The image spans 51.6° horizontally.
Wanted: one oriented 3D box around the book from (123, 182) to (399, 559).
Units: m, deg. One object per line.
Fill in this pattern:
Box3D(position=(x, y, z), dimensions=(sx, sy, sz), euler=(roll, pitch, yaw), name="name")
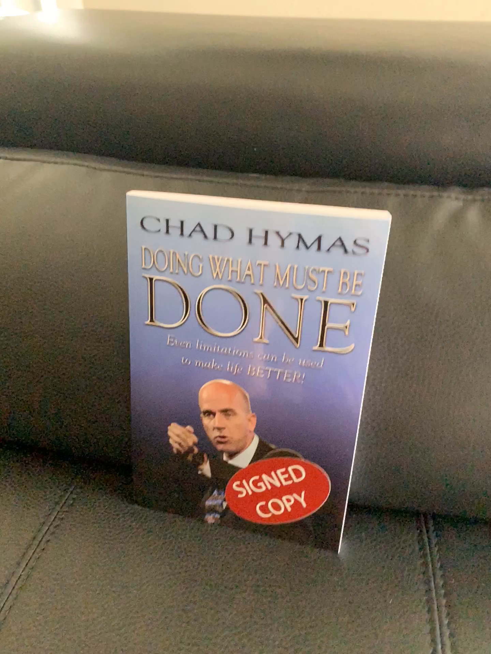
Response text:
Box3D(position=(-0.002, 0.032, 0.329), dimensions=(0.157, 0.225, 0.025), euler=(10, 20, 13), name="book")
